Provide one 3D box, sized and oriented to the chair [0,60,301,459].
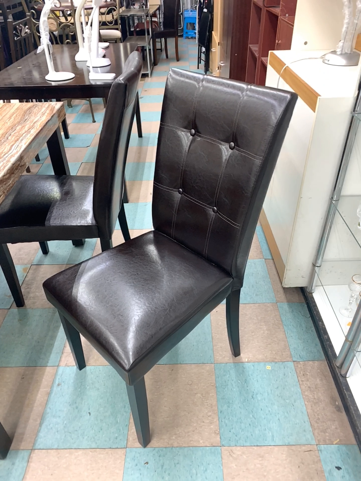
[{"bbox_3d":[-0.079,0.054,1.102,0.555,0.949,0.486,-31,45,-32],"label":"chair"}]
